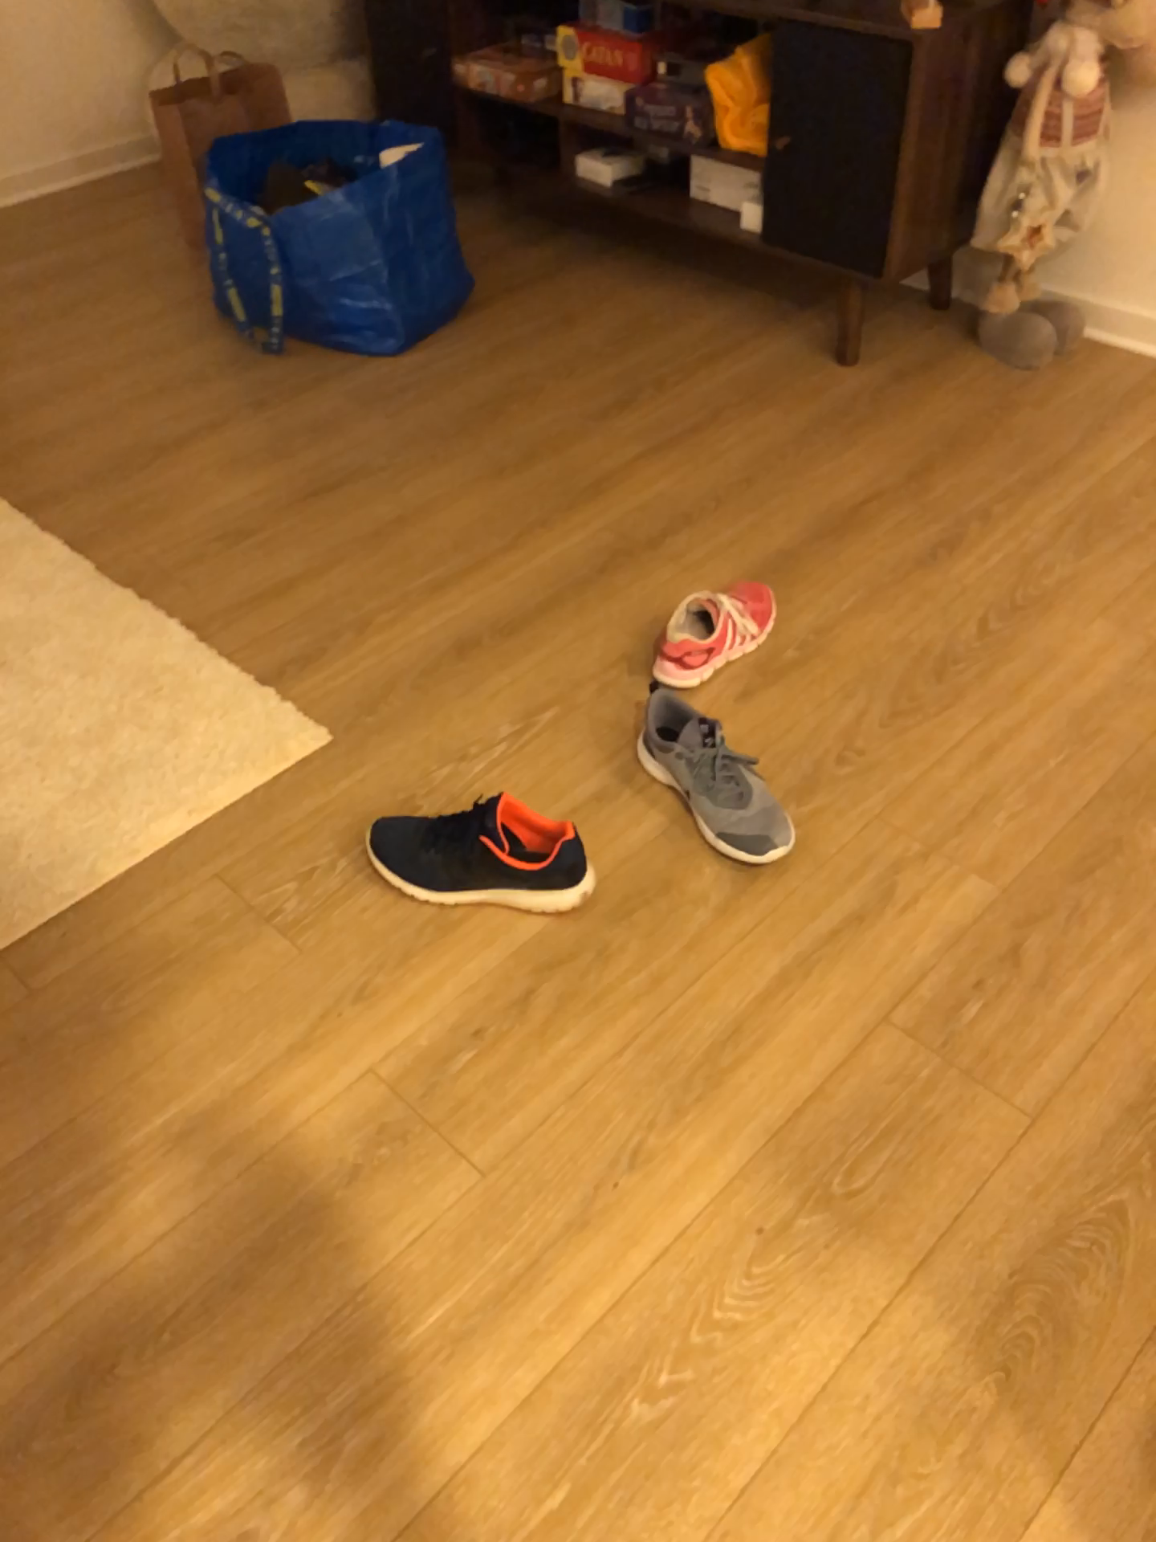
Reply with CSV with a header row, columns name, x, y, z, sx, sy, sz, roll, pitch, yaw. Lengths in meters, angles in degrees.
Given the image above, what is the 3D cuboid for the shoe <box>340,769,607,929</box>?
name,x,y,z,sx,sy,sz,roll,pitch,yaw
shoe,-0.124,0.094,1.576,0.300,0.099,0.131,6,44,10

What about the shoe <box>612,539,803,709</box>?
name,x,y,z,sx,sy,sz,roll,pitch,yaw
shoe,0.197,-0.227,1.910,0.140,0.089,0.281,30,52,30

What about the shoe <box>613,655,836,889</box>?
name,x,y,z,sx,sy,sz,roll,pitch,yaw
shoe,0.182,-0.007,1.651,0.130,0.109,0.307,-23,46,-20
